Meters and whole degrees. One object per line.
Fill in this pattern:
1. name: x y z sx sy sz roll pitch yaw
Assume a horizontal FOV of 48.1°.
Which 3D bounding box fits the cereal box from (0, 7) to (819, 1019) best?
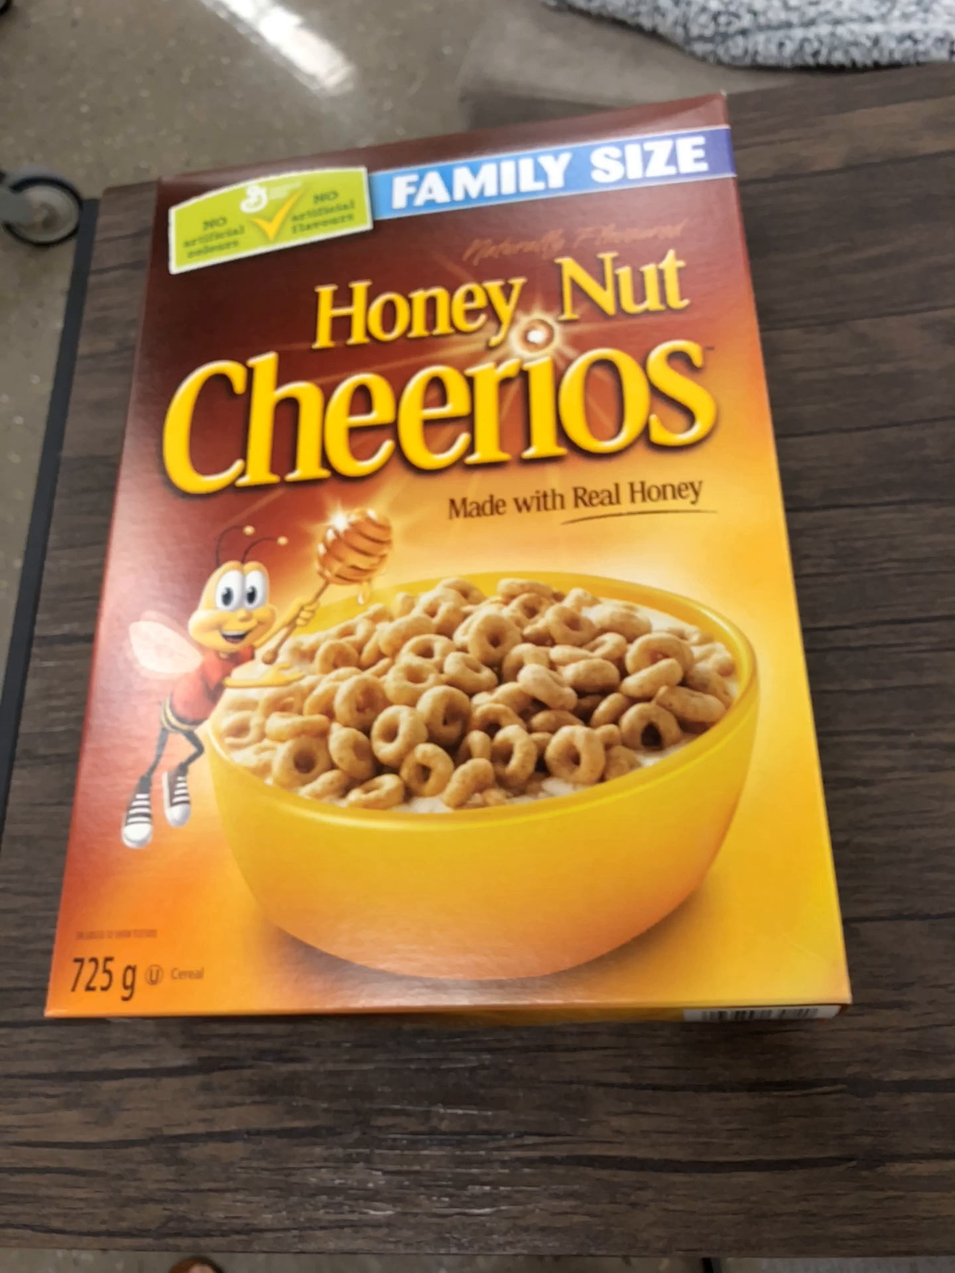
1. cereal box: -0.024 -0.056 0.420 0.250 0.080 0.380 -5 67 11
